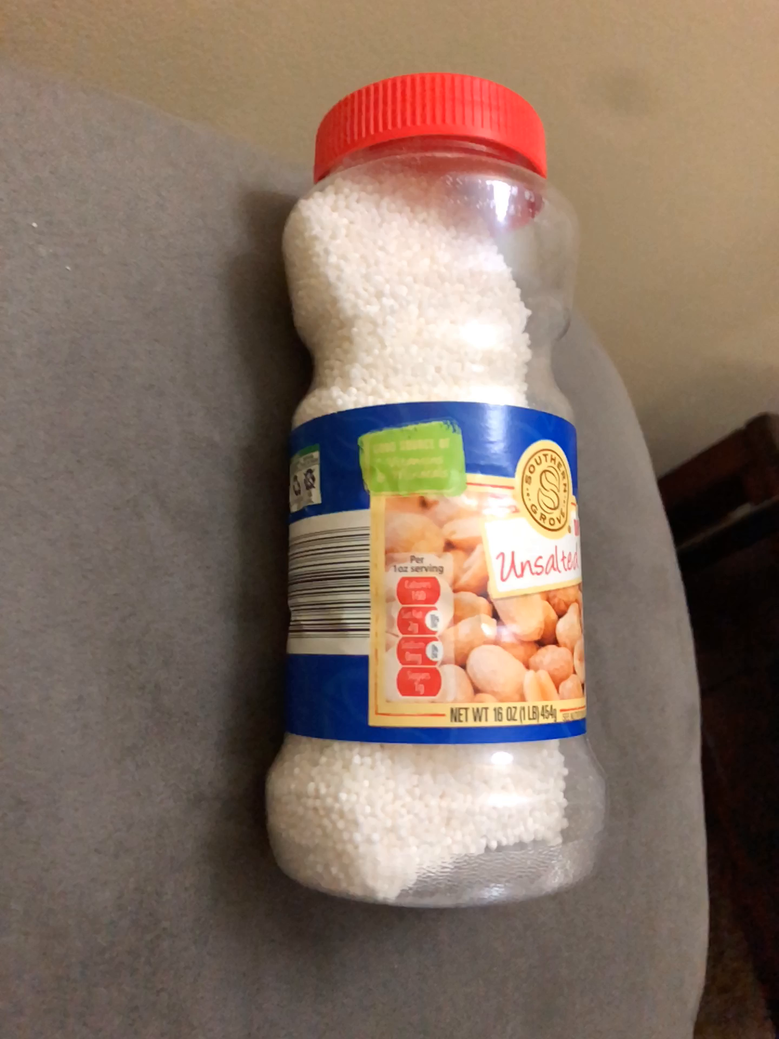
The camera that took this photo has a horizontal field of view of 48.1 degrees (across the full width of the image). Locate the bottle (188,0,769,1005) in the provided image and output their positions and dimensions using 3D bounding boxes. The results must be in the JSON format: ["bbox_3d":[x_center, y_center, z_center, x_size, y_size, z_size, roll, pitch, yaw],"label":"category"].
[{"bbox_3d":[0.015,-0.022,0.217,0.096,0.090,0.220,6,77,-34],"label":"bottle"}]
